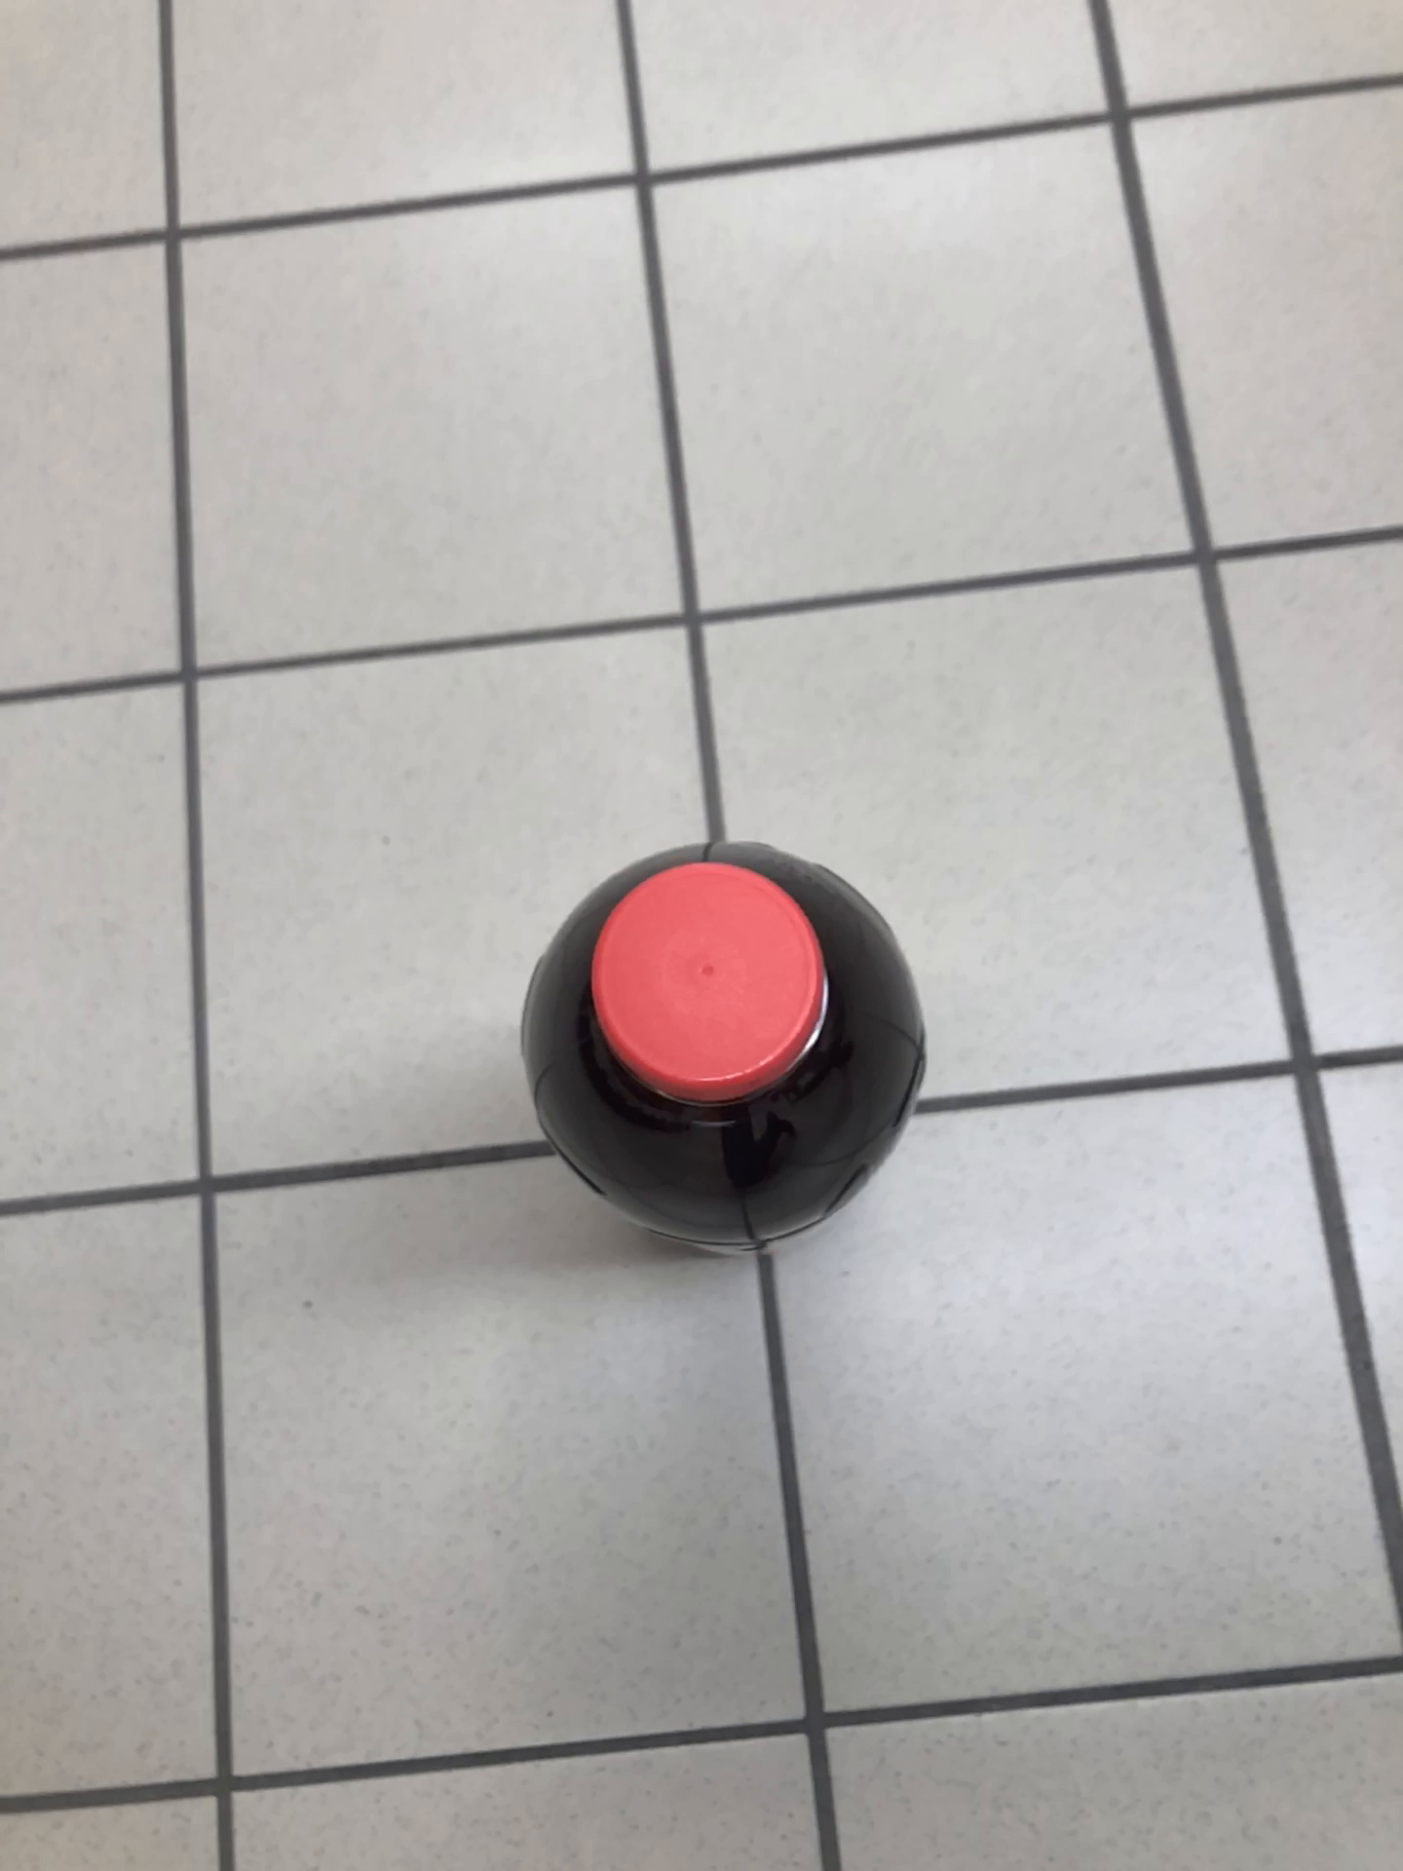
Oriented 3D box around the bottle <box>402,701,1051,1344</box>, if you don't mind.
[{"bbox_3d":[0.010,0.045,0.394,0.090,0.290,0.090,-1,77,3],"label":"bottle"}]
